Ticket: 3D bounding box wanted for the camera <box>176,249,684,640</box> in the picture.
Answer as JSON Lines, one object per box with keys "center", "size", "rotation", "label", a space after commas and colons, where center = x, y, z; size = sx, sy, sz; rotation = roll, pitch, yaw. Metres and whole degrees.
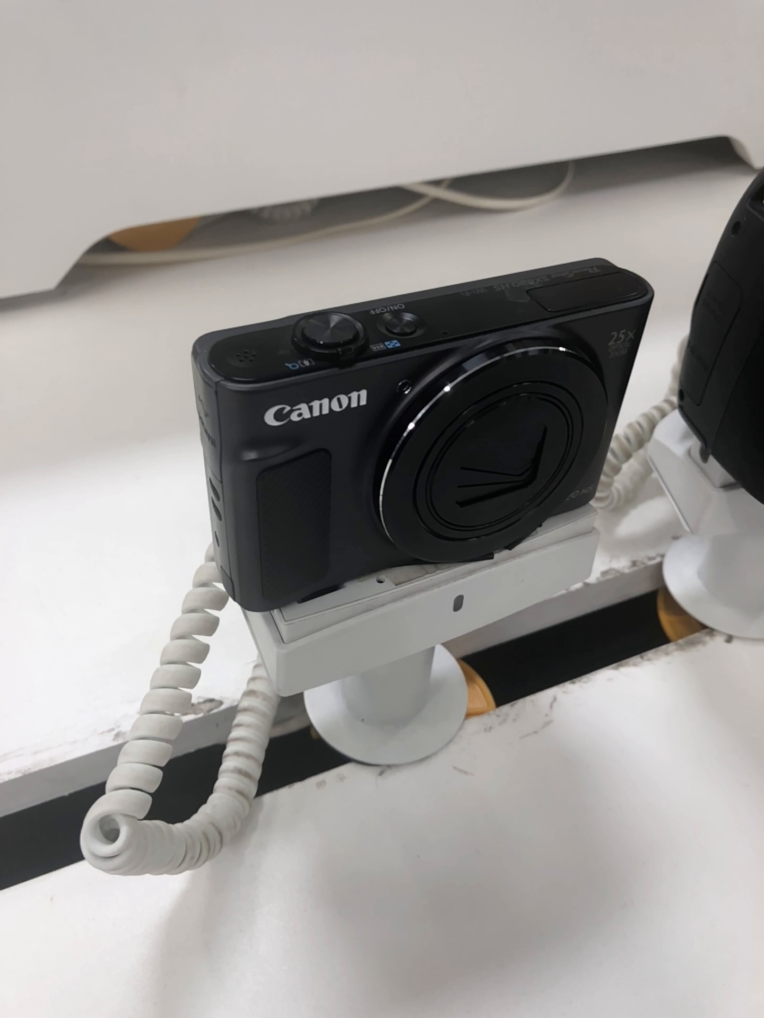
{"center": [0.009, -0.014, 0.178], "size": [0.093, 0.057, 0.025], "rotation": [-17, 49, -21], "label": "camera"}
